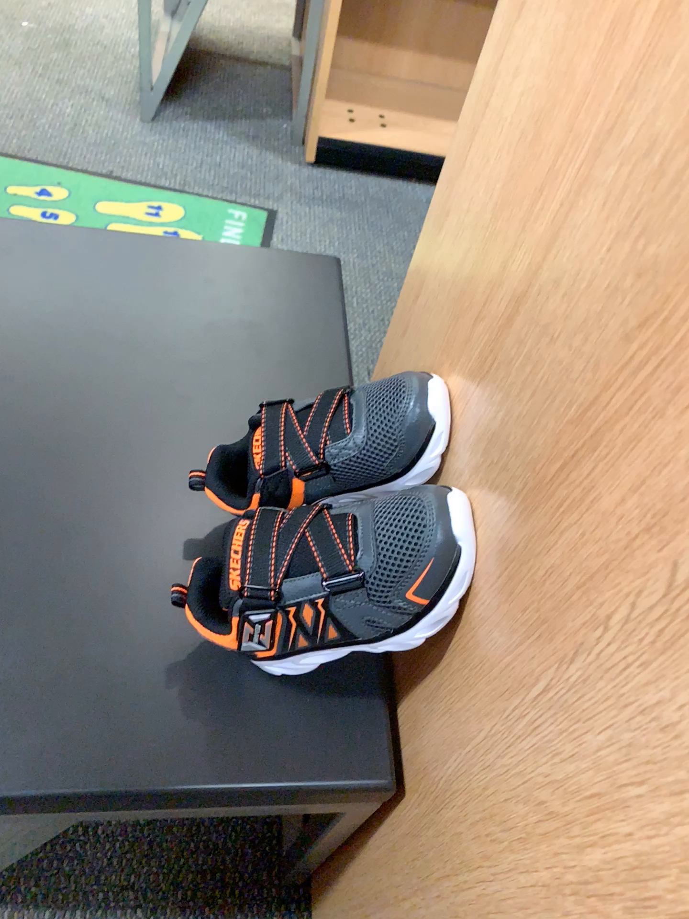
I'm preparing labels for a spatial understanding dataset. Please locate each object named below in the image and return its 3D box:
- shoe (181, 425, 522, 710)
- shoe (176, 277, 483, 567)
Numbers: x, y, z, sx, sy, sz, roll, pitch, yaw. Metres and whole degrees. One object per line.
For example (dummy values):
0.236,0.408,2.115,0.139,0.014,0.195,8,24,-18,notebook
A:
-0.002,0.077,0.438,0.100,0.179,0.090,31,42,-35,shoe
-0.015,-0.015,0.481,0.100,0.179,0.090,31,42,-35,shoe
